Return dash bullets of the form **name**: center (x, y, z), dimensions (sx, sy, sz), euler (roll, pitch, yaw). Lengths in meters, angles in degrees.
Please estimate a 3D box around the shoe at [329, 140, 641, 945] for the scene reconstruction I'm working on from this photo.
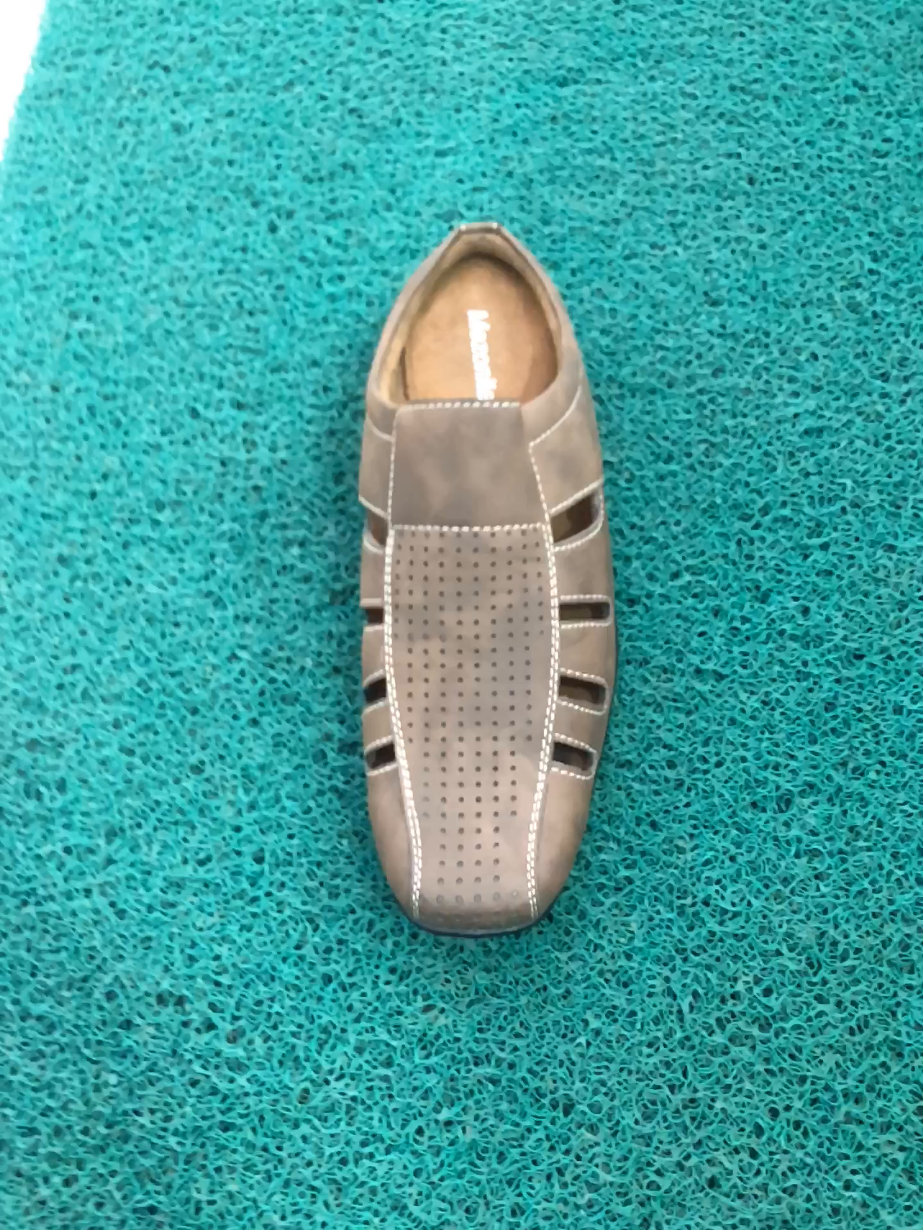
- **shoe**: center (0.005, -0.033, 0.381), dimensions (0.090, 0.070, 0.290), euler (-3, 69, 3)
